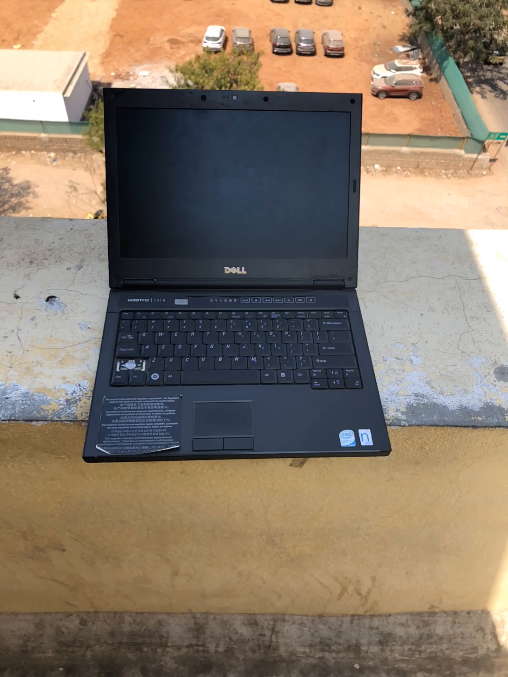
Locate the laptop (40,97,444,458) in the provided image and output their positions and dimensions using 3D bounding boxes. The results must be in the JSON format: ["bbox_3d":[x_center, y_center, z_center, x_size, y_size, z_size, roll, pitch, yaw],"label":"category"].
[{"bbox_3d":[-0.014,-0.086,0.609,0.301,0.178,0.378,-1,49,-2],"label":"laptop"}]
